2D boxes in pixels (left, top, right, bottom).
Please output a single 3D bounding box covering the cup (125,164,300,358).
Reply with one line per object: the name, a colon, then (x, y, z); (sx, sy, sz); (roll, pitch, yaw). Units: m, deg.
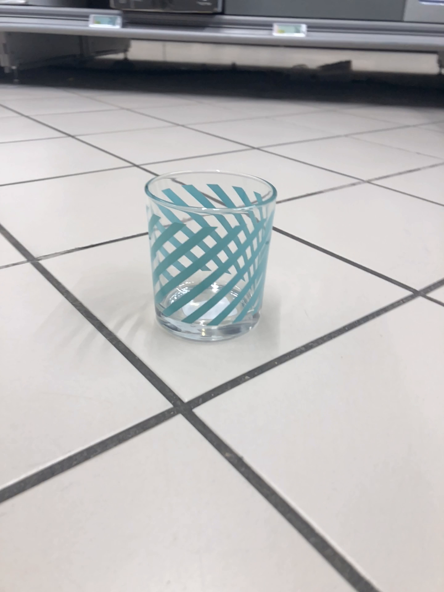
cup: (-0.010, -0.026, 0.291); (0.075, 0.080, 0.080); (1, 29, -1)
